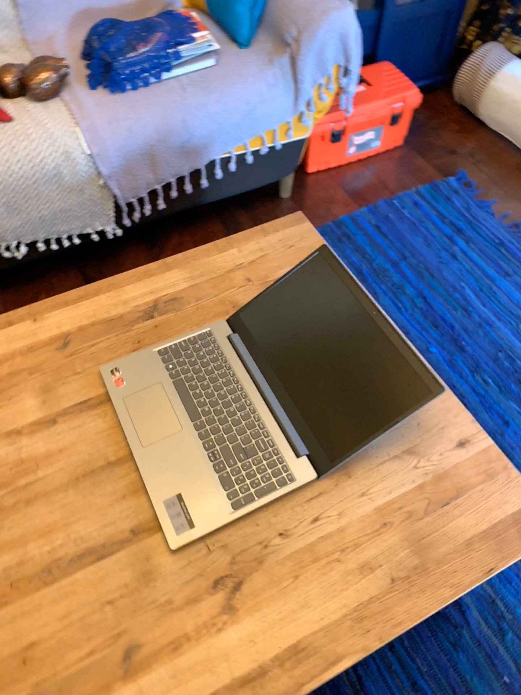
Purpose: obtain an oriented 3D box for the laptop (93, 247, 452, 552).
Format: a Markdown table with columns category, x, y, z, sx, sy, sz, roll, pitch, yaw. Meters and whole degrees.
| category | x | y | z | sx | sy | sz | roll | pitch | yaw |
| --- | --- | --- | --- | --- | --- | --- | --- | --- | --- |
| laptop | 0.005 | 0.058 | 0.891 | 0.461 | 0.099 | 0.347 | -23 | 57 | -12 |
